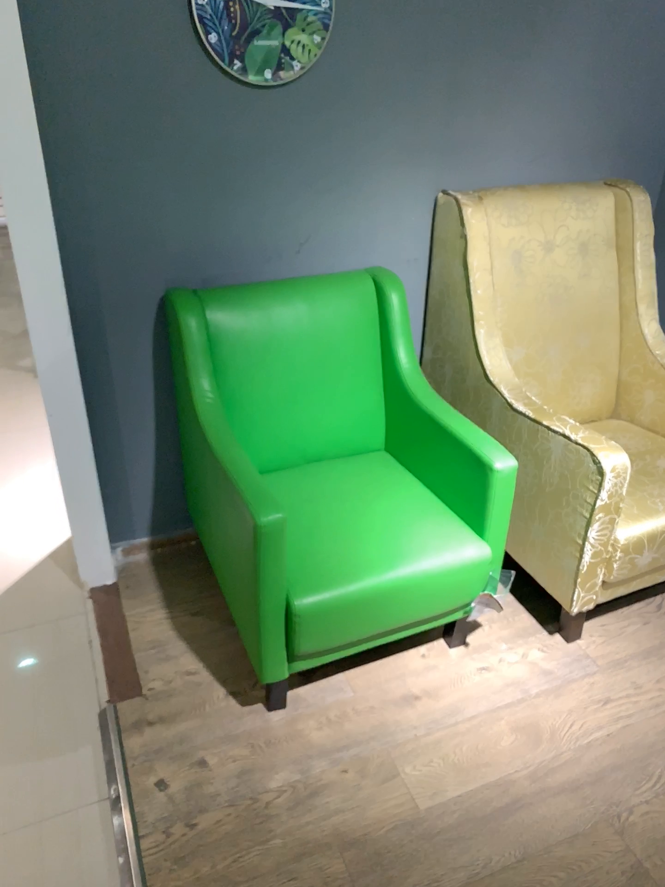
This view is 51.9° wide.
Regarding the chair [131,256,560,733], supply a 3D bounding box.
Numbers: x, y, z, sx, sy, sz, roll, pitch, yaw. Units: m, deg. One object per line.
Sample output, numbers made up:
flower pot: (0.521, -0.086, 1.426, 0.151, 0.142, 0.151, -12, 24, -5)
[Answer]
chair: (-0.038, 0.044, 1.771, 0.711, 0.787, 0.813, -12, 33, -22)
